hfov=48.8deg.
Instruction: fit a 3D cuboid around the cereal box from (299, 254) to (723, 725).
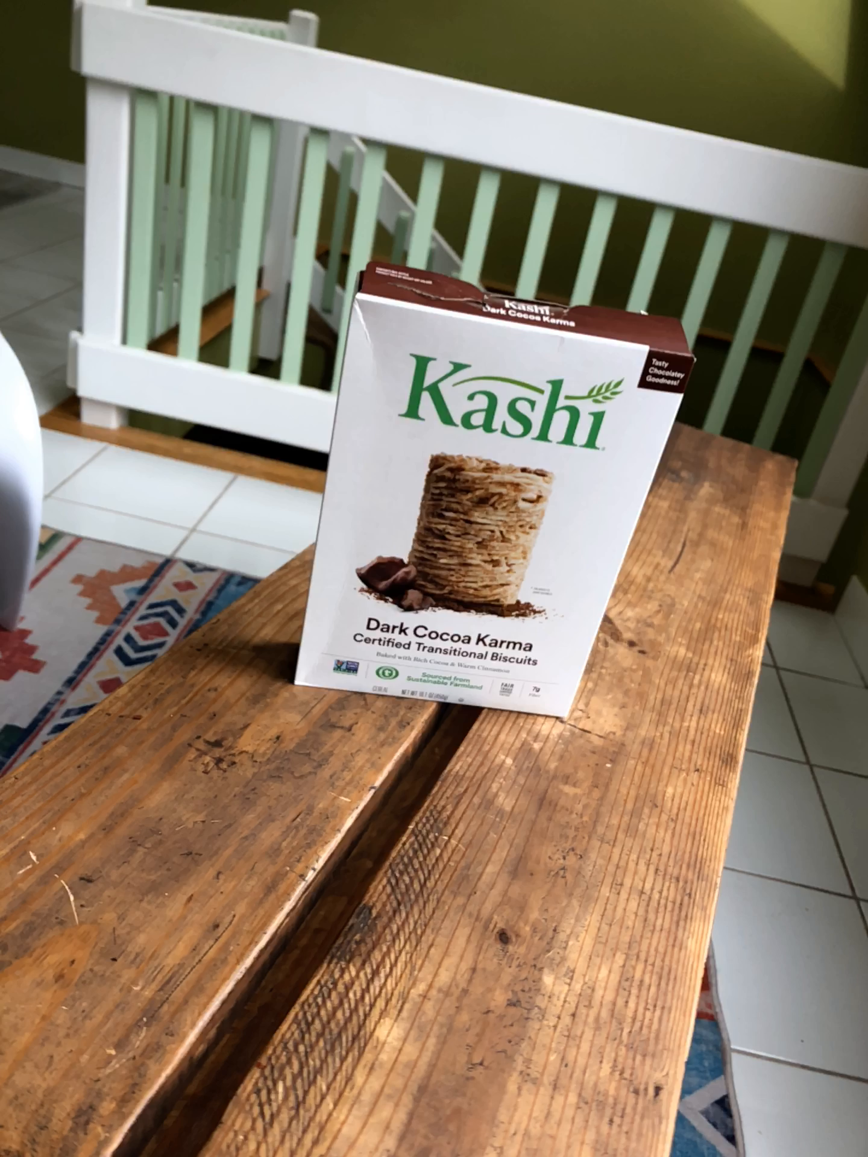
[{"bbox_3d":[0.032,-0.041,0.609,0.200,0.278,0.060,8,33,-8],"label":"cereal box"}]
